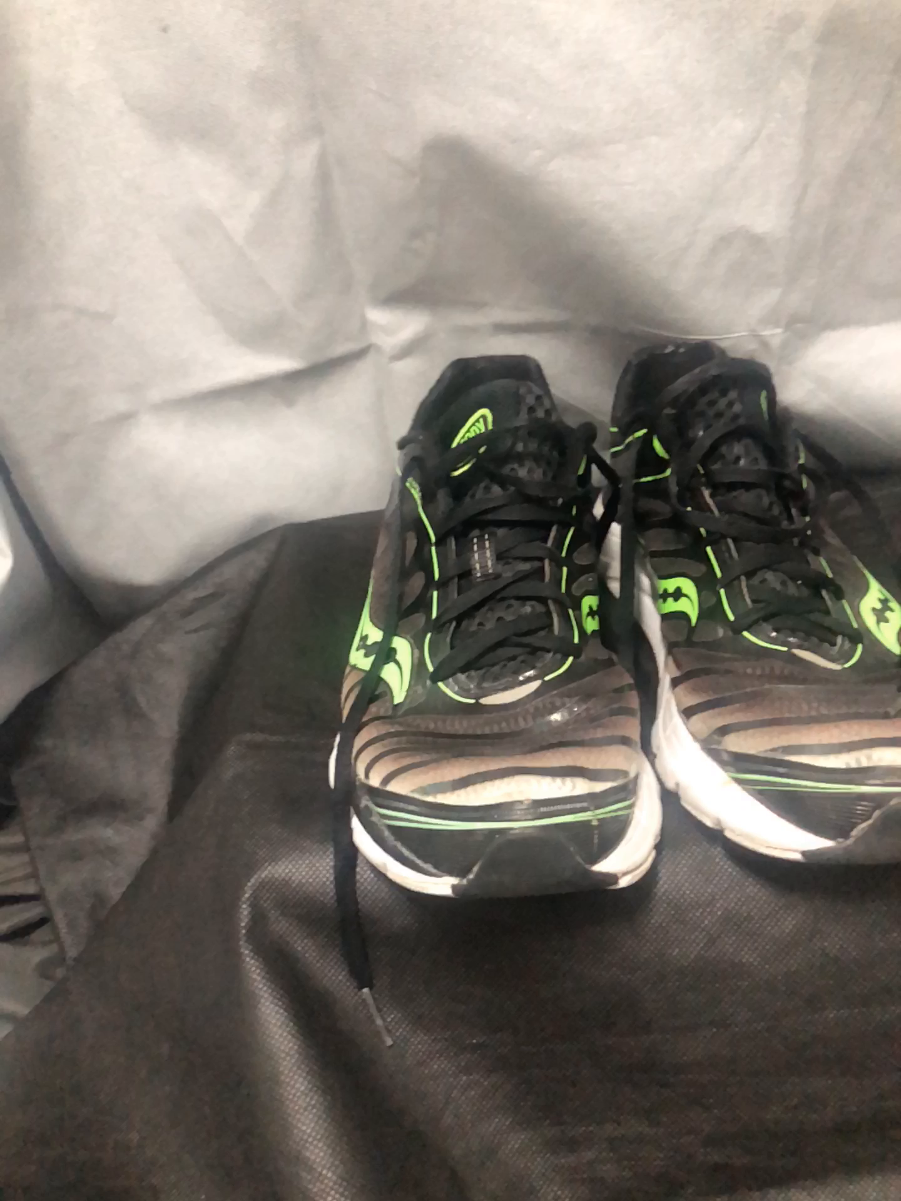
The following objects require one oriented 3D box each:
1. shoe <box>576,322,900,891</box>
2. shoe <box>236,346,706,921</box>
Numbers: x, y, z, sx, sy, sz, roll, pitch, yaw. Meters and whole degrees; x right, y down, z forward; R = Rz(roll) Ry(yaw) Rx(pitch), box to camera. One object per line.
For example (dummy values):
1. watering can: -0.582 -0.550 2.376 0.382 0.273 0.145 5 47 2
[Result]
1. shoe: 0.120 -0.018 0.364 0.114 0.097 0.226 -4 31 0
2. shoe: 0.003 -0.009 0.366 0.116 0.096 0.226 -4 31 0
